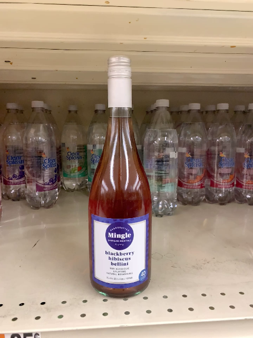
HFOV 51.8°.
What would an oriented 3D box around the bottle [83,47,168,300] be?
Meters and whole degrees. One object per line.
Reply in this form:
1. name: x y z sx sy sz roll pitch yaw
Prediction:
1. bottle: -0.001 0.010 0.343 0.090 0.299 0.080 0 10 1
